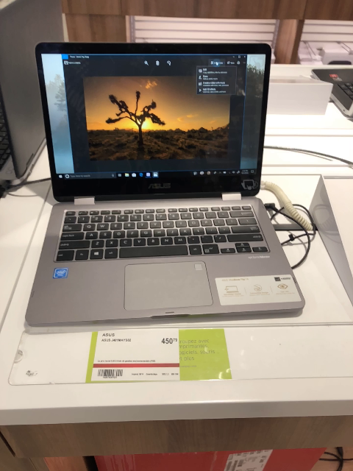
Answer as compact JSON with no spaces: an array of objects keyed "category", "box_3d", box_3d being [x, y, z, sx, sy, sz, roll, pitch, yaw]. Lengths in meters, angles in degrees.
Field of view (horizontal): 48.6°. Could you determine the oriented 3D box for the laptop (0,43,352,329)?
[{"category":"laptop","box_3d":[-0.016,-0.083,0.485,0.319,0.211,0.291,-3,41,-6]}]
